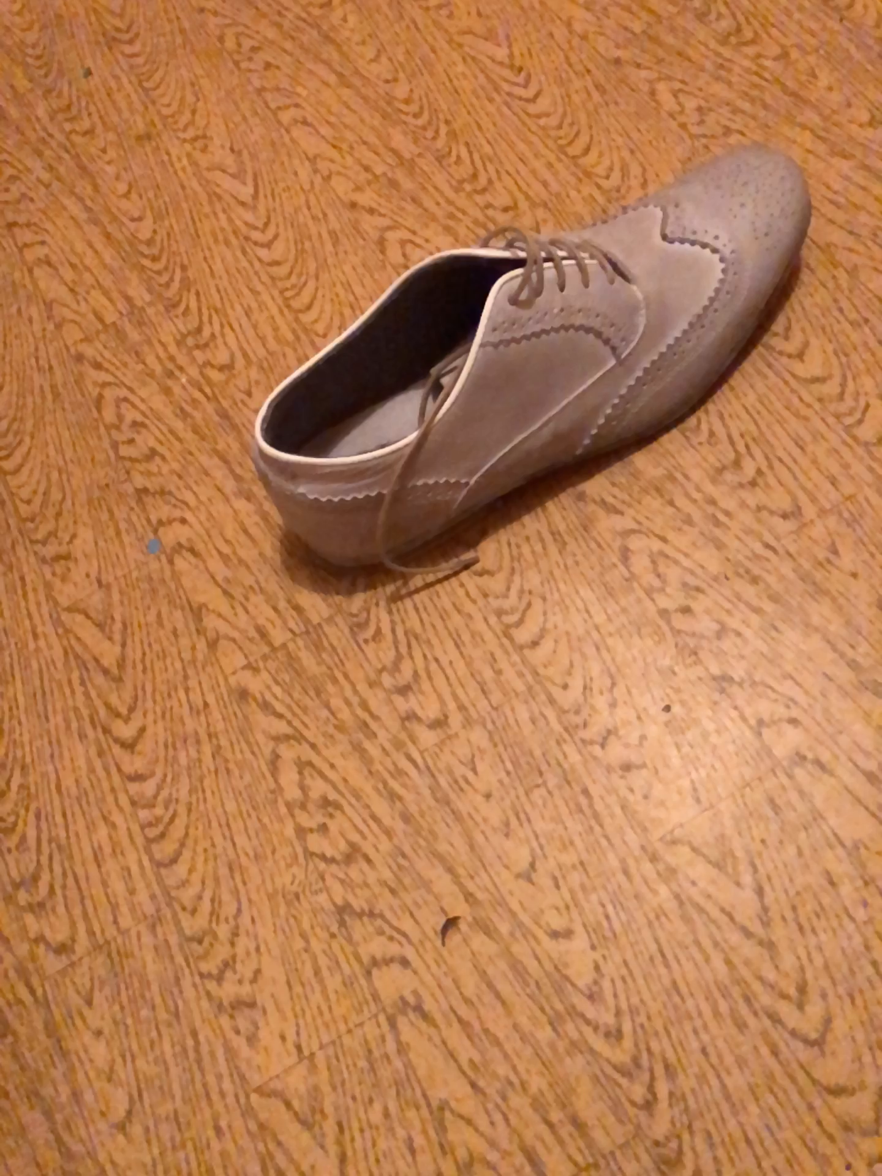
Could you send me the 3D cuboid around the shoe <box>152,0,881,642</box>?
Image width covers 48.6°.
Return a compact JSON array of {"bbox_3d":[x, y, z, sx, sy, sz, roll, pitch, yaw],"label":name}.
[{"bbox_3d":[0.045,-0.121,0.439,0.300,0.110,0.110,-33,63,-7],"label":"shoe"}]
